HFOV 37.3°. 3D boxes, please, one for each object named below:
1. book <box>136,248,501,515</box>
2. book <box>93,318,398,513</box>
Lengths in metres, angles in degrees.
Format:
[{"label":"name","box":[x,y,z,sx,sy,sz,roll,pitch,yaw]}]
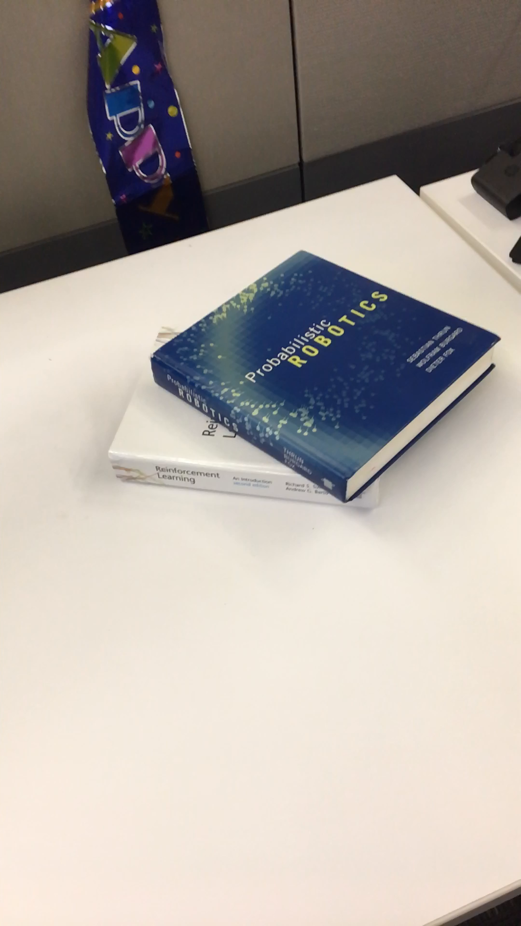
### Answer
[{"label":"book","box":[0.049,-0.089,0.688,0.240,0.030,0.210,33,60,30]},{"label":"book","box":[-0.005,-0.053,0.709,0.240,0.030,0.190,6,50,12]}]
